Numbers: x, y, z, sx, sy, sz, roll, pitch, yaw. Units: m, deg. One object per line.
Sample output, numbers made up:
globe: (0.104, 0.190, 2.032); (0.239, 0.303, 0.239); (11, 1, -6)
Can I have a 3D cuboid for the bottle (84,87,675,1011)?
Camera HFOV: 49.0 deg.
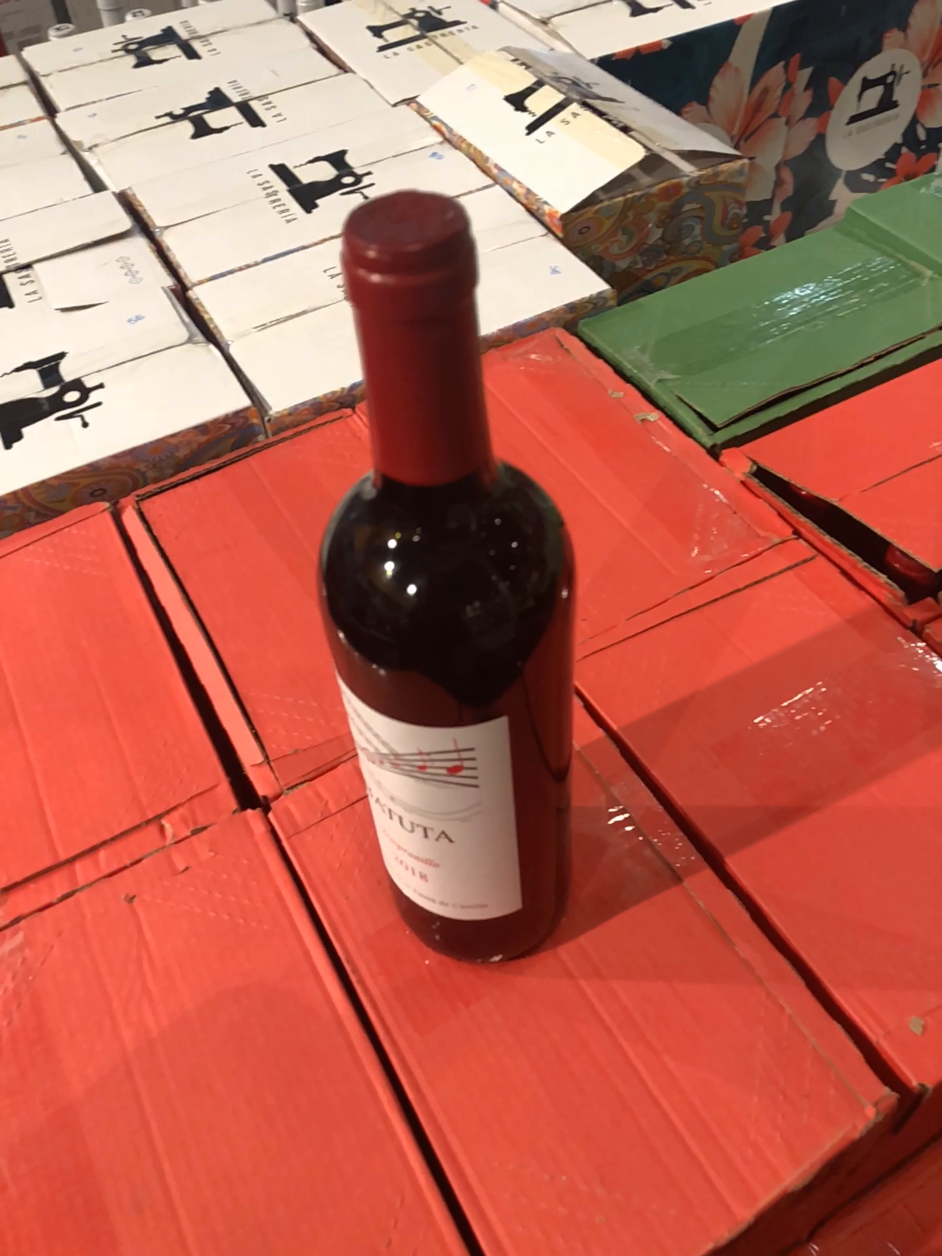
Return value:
bottle: (-0.006, 0.007, 0.315); (0.090, 0.287, 0.080); (21, 55, 22)
